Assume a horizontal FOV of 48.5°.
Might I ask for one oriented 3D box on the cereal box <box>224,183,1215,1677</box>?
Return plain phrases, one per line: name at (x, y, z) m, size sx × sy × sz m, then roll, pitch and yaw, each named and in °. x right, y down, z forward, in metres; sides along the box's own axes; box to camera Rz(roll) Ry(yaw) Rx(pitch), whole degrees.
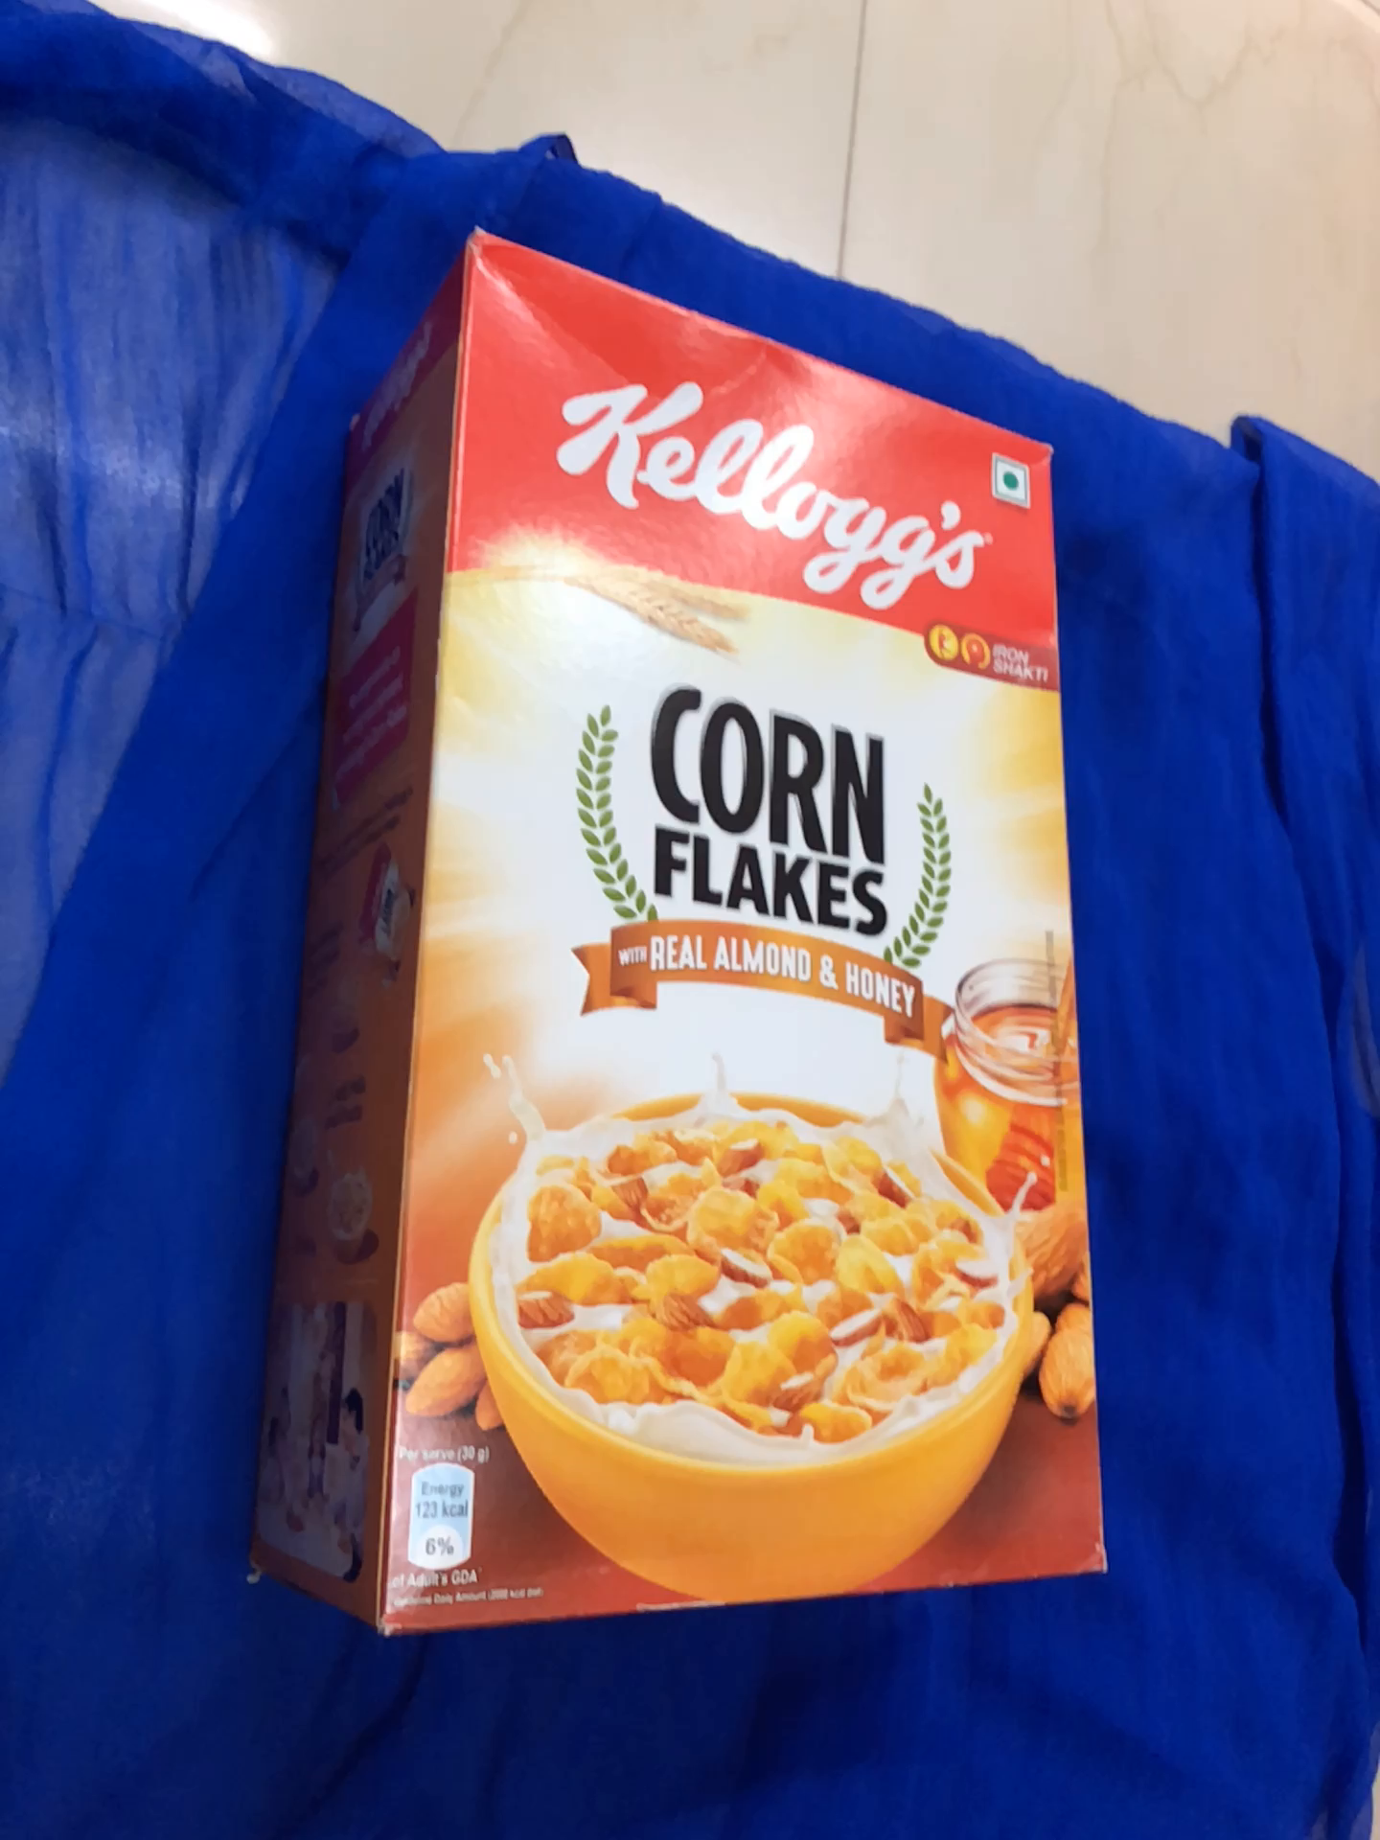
cereal box at (0.015, 0.008, 0.388) m, size 0.211 × 0.090 × 0.300 m, roll 10°, pitch 73°, yaw -29°
